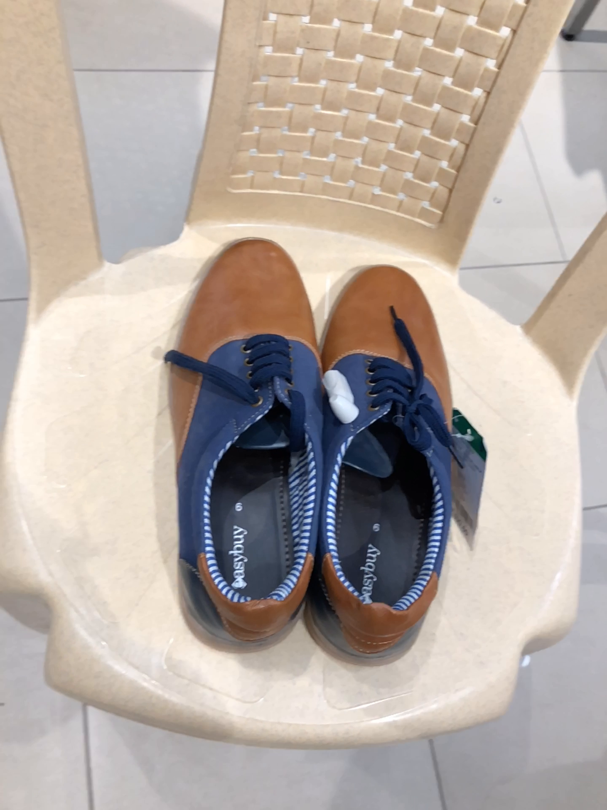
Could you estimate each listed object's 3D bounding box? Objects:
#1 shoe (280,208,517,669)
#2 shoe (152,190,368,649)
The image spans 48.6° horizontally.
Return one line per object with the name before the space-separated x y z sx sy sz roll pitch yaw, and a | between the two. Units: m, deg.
shoe | 0.058 0.025 0.425 0.103 0.120 0.252 8 69 -7
shoe | -0.032 0.013 0.415 0.103 0.113 0.254 1 70 -9
